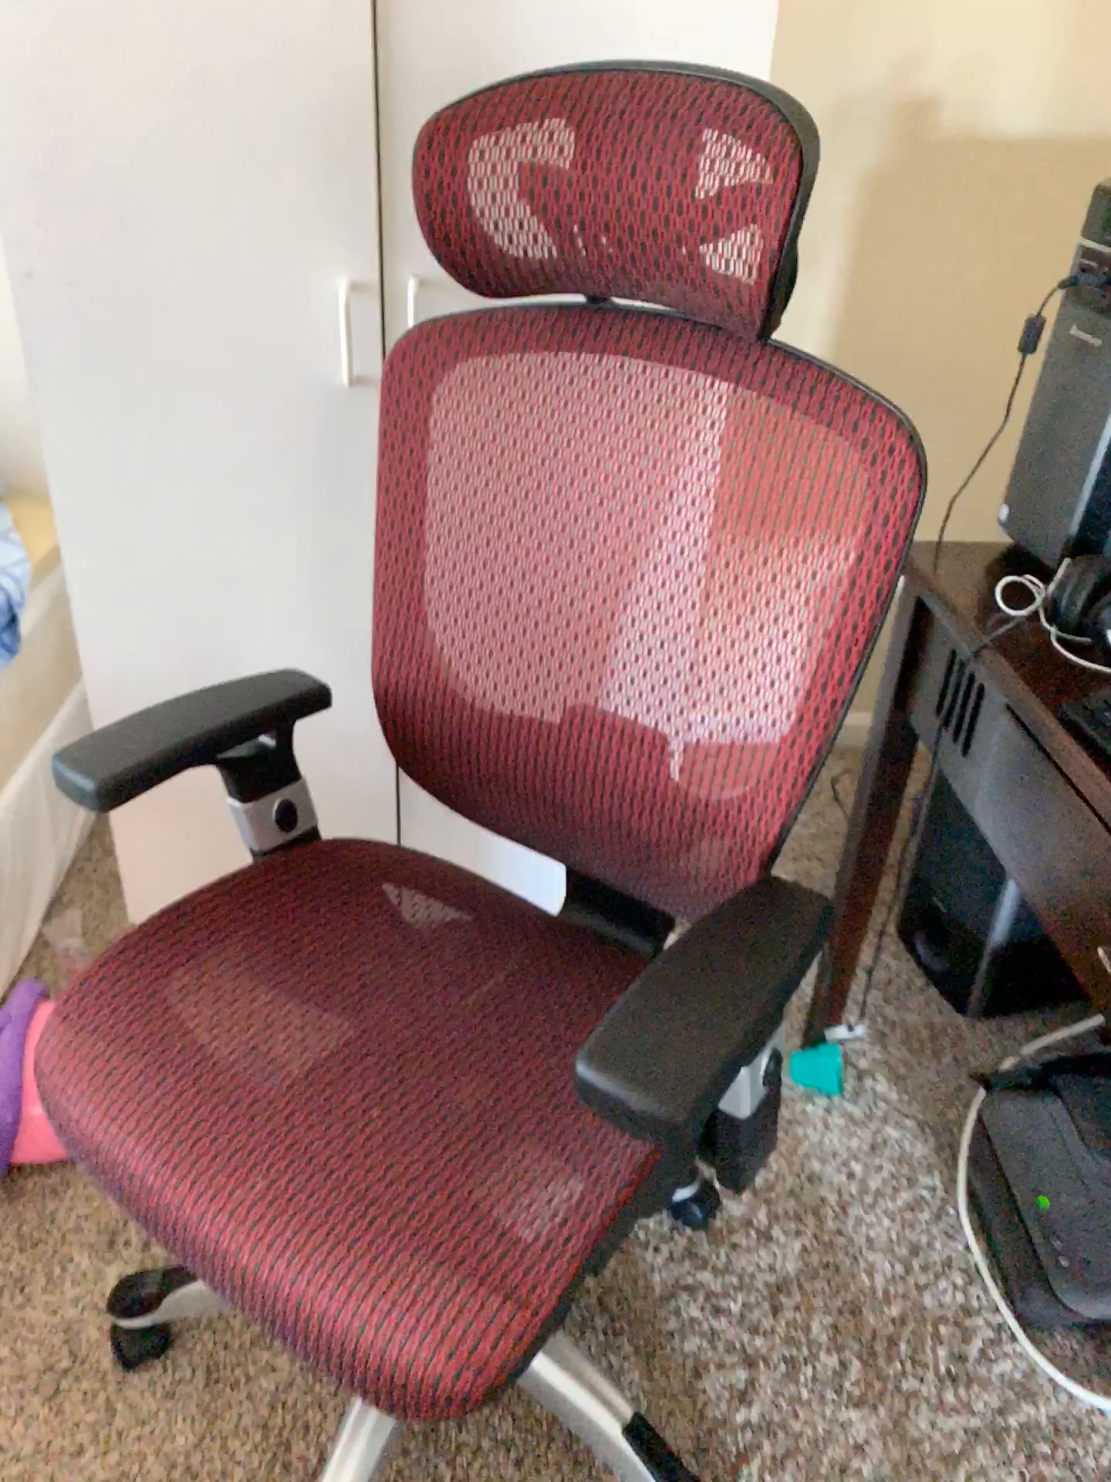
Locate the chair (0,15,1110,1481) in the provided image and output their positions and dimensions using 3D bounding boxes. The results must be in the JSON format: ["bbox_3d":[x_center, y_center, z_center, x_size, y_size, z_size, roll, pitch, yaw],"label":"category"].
[{"bbox_3d":[-0.039,0.128,0.909,0.731,1.155,0.812,24,37,32],"label":"chair"}]
